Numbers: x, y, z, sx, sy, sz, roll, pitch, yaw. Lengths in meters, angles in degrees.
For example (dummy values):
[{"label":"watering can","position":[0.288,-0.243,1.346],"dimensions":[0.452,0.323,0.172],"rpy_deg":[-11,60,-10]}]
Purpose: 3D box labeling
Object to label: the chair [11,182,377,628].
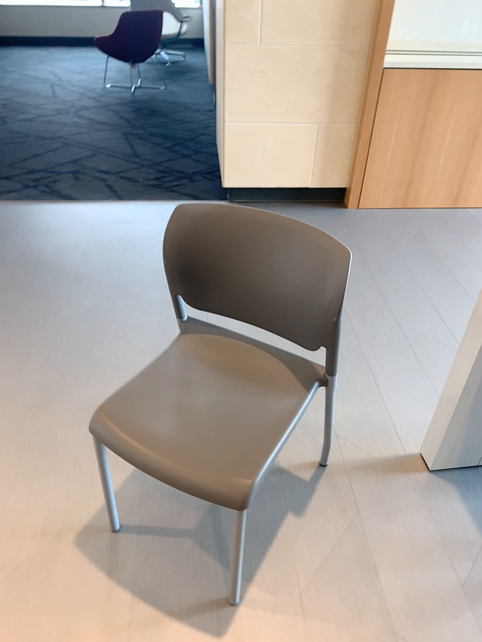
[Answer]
[{"label":"chair","position":[-0.062,0.178,1.211],"dimensions":[0.501,0.783,0.574],"rpy_deg":[19,40,21]}]
